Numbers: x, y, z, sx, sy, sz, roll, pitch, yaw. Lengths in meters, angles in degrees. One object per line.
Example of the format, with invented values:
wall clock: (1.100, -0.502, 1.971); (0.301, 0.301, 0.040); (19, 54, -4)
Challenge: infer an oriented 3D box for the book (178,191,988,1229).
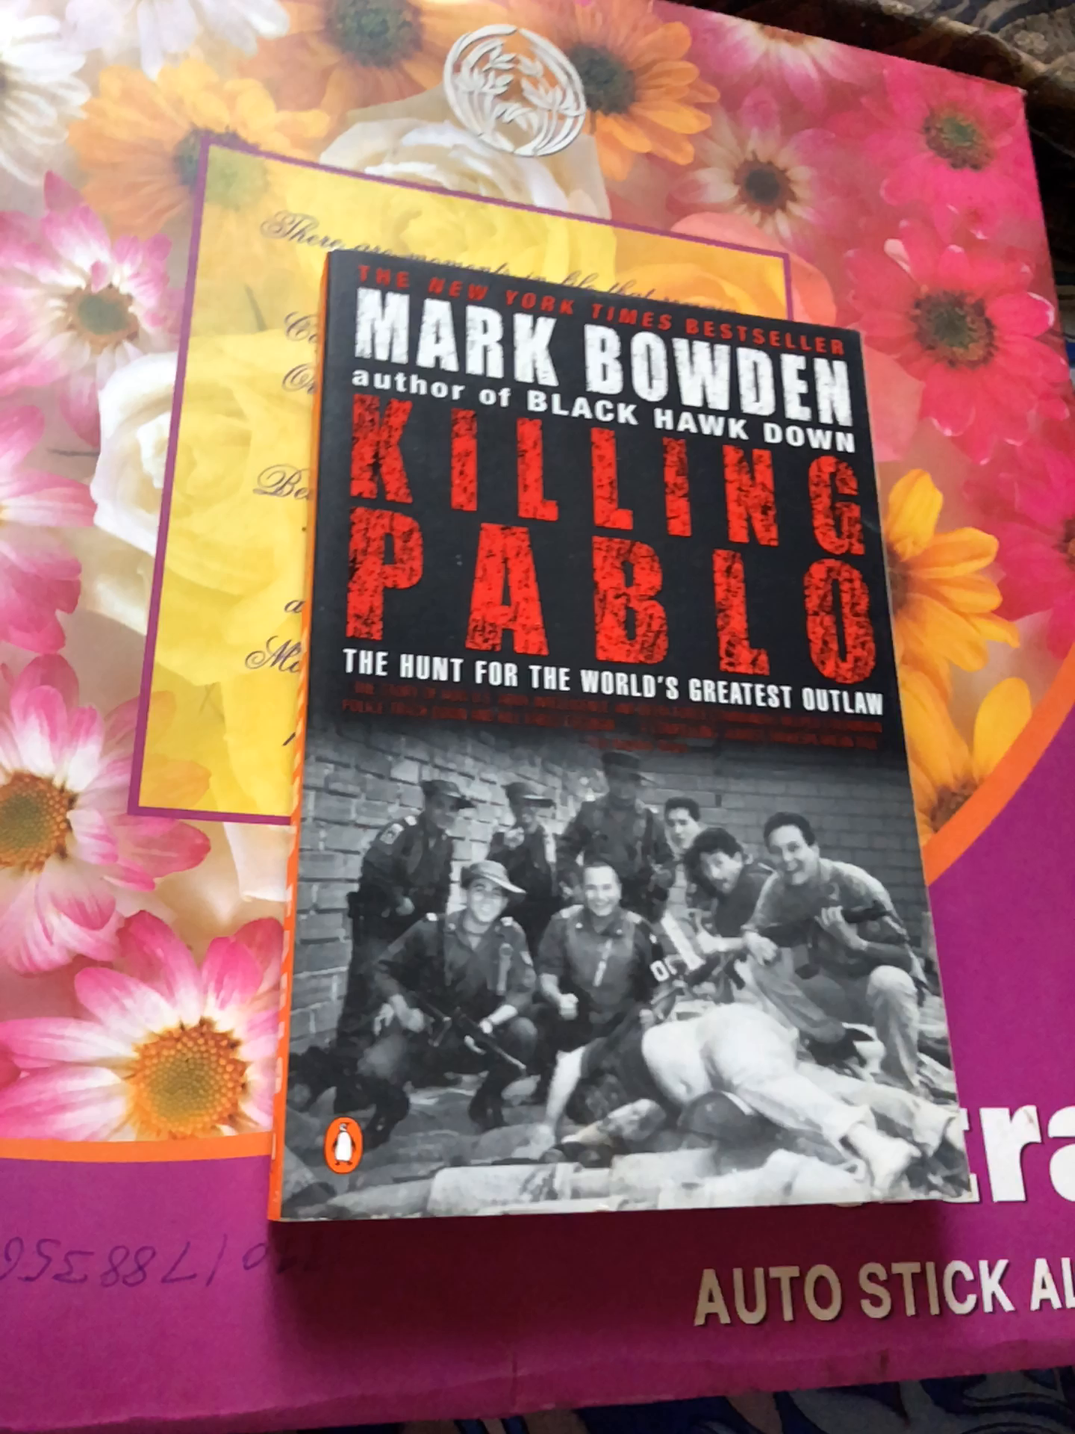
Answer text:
book: (0.008, -0.011, 0.274); (0.150, 0.030, 0.230); (3, 68, -10)
